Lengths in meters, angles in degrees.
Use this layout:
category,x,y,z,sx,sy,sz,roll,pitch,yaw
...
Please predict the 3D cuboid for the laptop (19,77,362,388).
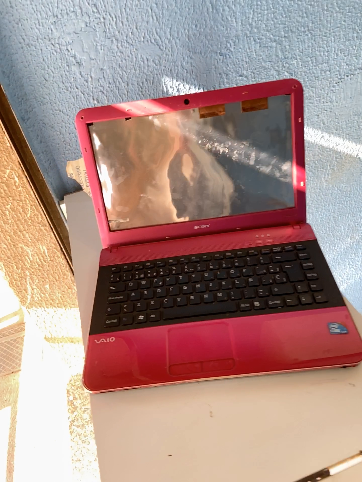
category,x,y,z,sx,sy,sz,roll,pitch,yaw
laptop,0.027,-0.032,0.496,0.330,0.187,0.341,-7,44,4
